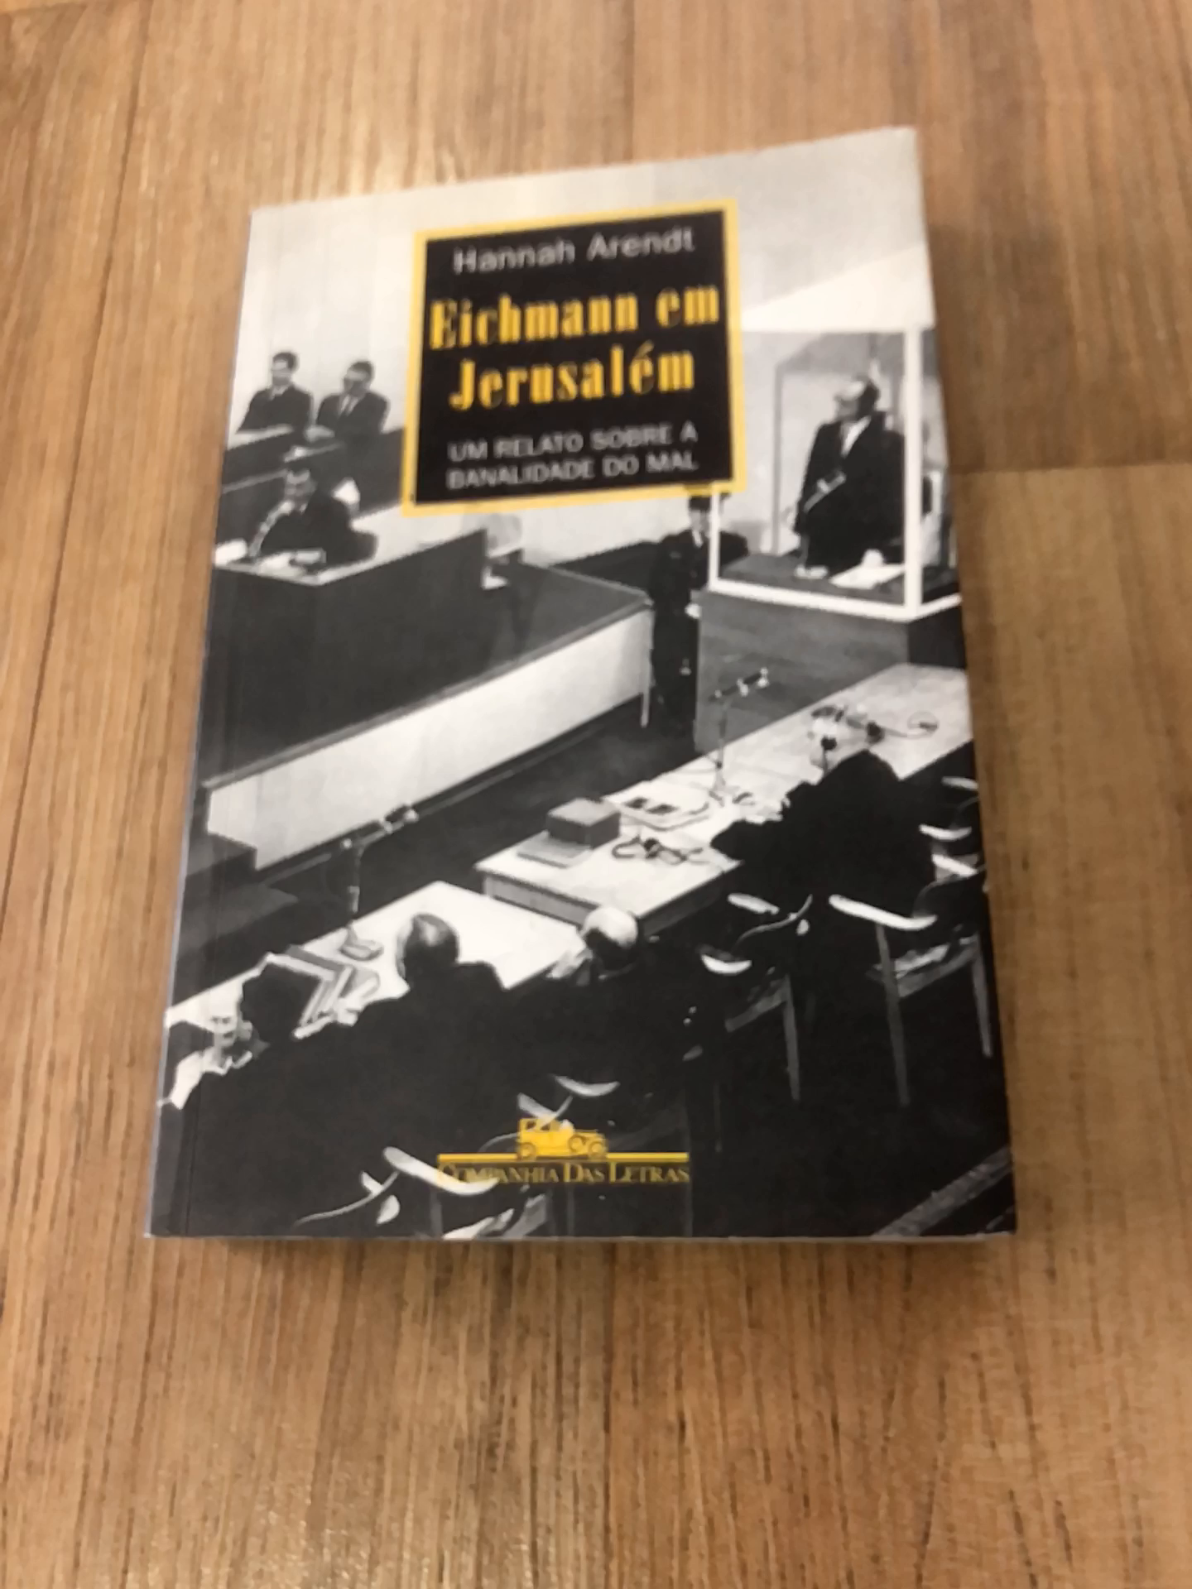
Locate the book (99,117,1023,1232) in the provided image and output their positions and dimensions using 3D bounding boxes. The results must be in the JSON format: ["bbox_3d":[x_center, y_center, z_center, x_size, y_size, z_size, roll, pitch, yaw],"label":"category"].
[{"bbox_3d":[-0.007,-0.026,0.247,0.140,0.030,0.200,-3,72,7],"label":"book"}]
